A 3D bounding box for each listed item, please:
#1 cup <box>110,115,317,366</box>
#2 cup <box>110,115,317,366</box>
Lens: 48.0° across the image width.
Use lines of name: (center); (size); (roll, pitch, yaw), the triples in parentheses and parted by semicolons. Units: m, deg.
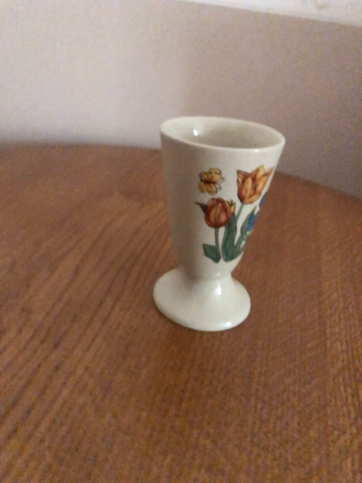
cup: (0.011, -0.007, 0.252); (0.080, 0.119, 0.080); (5, 28, -3)
cup: (0.011, -0.007, 0.252); (0.080, 0.119, 0.080); (5, 28, -3)
